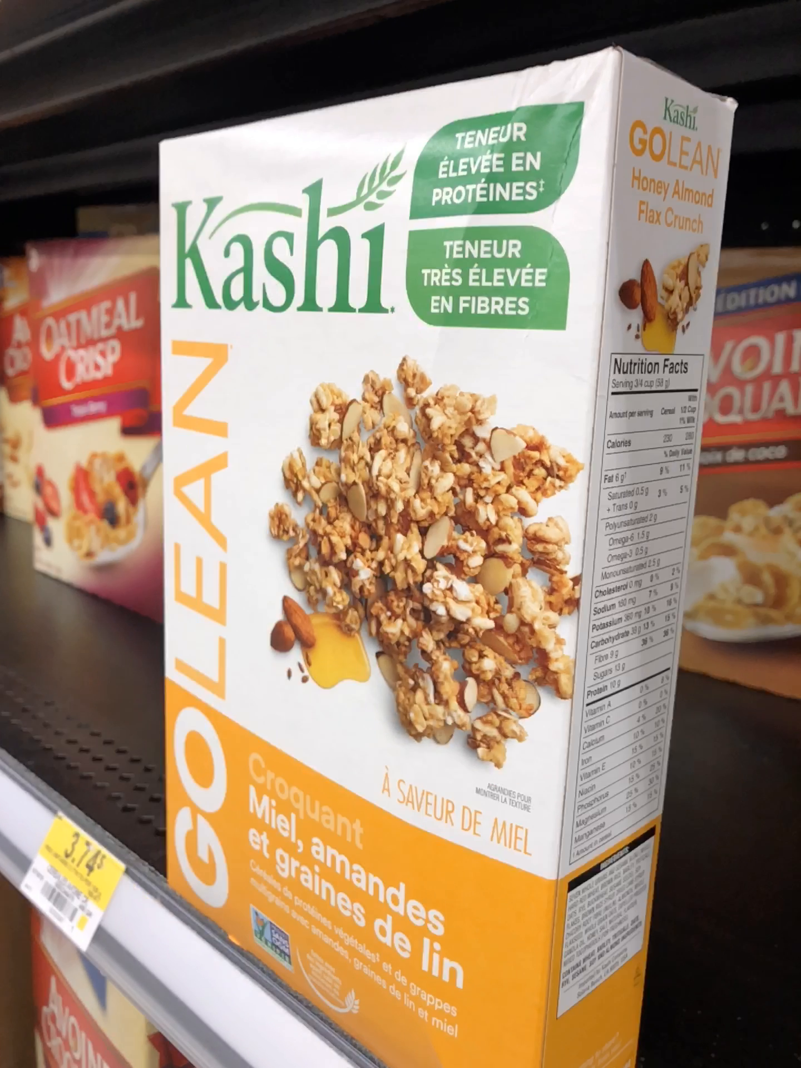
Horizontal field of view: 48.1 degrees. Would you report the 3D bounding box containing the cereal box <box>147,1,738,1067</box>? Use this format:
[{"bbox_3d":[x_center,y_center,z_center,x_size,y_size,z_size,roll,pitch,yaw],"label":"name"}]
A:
[{"bbox_3d":[-0.006,0.014,0.270,0.050,0.269,0.170,-10,17,-44],"label":"cereal box"}]
